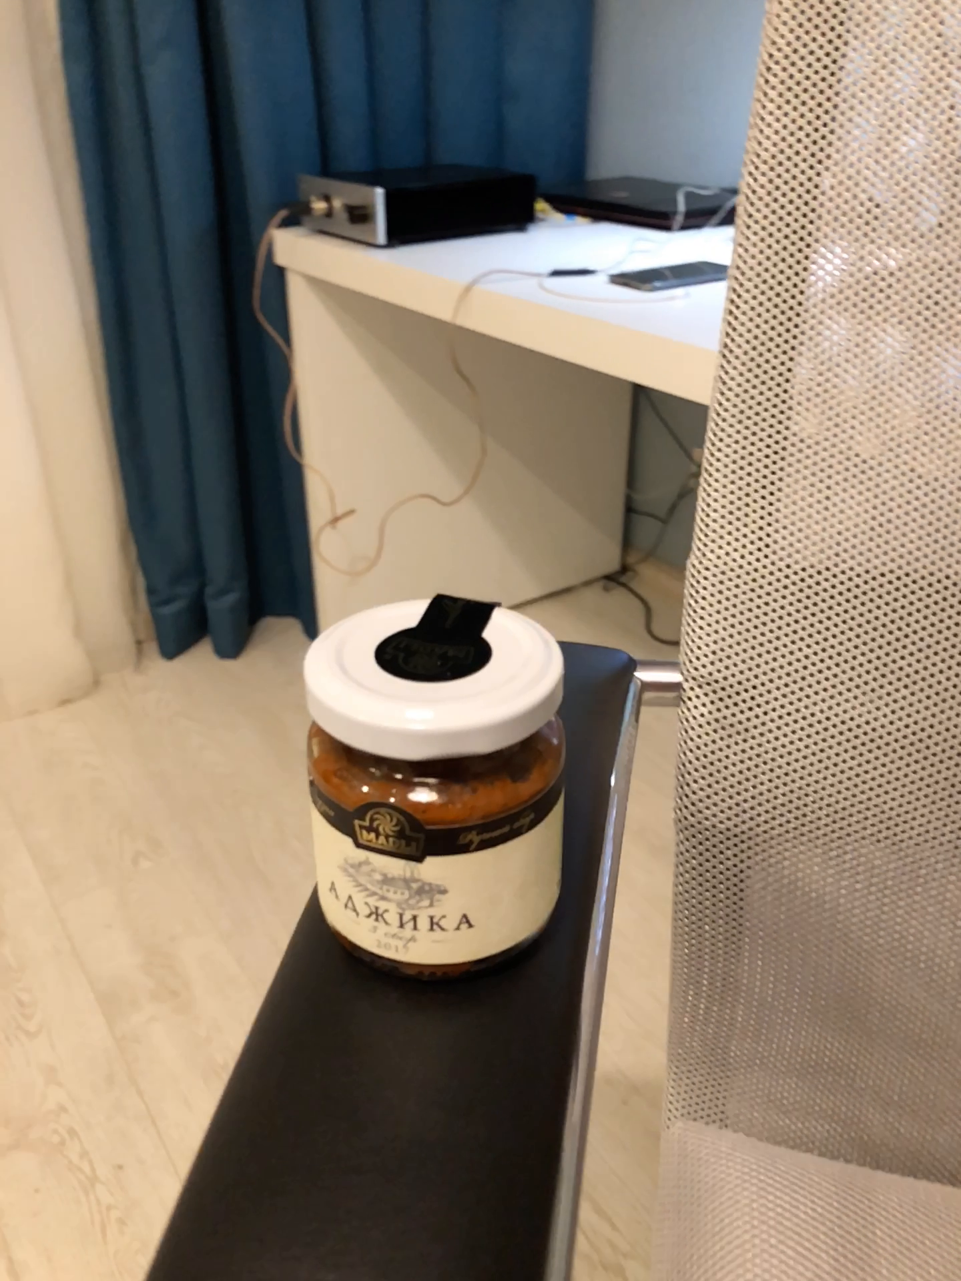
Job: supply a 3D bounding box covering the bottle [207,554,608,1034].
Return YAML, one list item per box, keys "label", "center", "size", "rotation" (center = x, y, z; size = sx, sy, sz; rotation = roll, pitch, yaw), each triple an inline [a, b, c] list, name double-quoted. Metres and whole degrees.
- label: "bottle"
  center: [-0.011, 0.029, 0.229]
  size: [0.060, 0.070, 0.060]
  rotation: [10, 30, 20]
